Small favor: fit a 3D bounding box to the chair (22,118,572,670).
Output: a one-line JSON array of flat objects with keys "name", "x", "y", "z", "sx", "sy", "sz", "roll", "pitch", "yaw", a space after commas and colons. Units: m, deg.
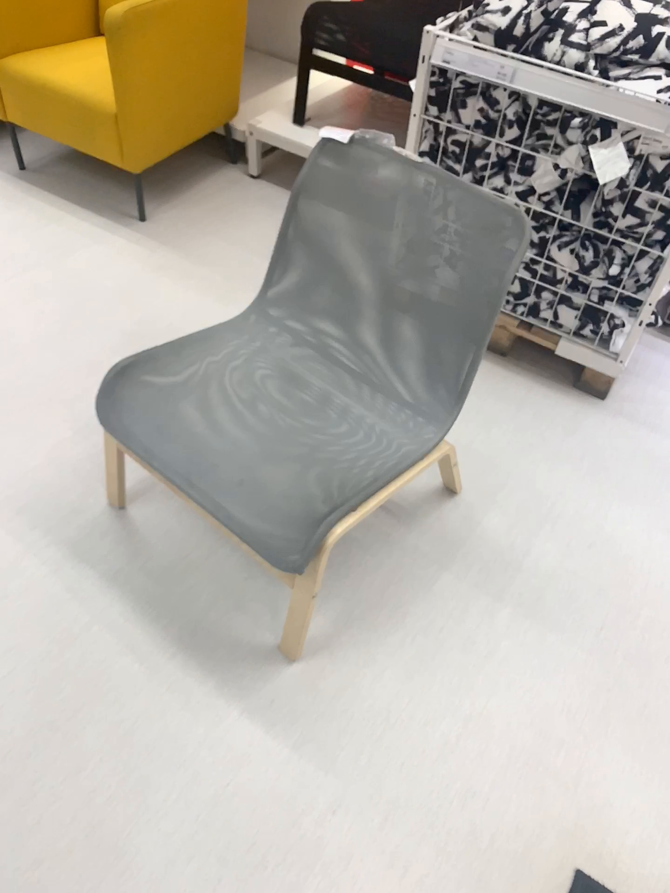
[{"name": "chair", "x": -0.062, "y": -0.143, "z": 1.474, "sx": 0.631, "sy": 0.698, "sz": 0.751, "roll": 35, "pitch": 54, "yaw": 24}]
